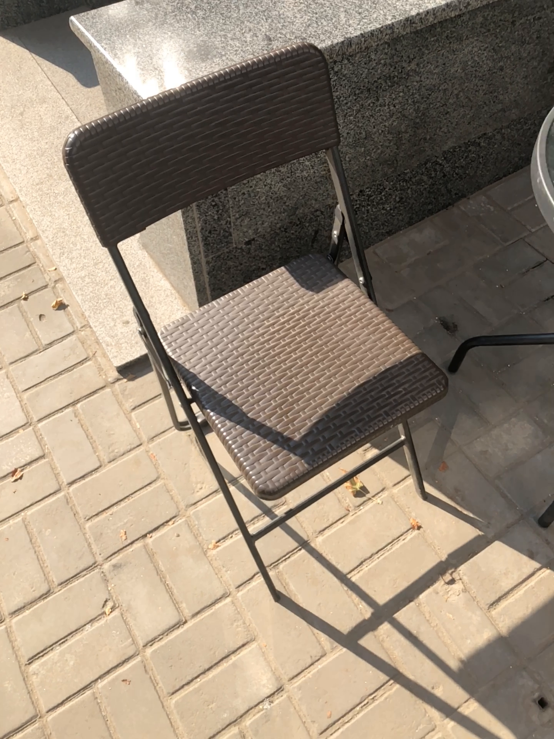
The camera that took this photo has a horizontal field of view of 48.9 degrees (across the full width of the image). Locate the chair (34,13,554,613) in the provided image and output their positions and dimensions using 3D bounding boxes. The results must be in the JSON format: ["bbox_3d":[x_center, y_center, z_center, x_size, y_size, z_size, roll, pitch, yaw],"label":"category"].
[{"bbox_3d":[0.024,-0.022,1.005,0.430,0.788,0.461,-30,60,-19],"label":"chair"}]
